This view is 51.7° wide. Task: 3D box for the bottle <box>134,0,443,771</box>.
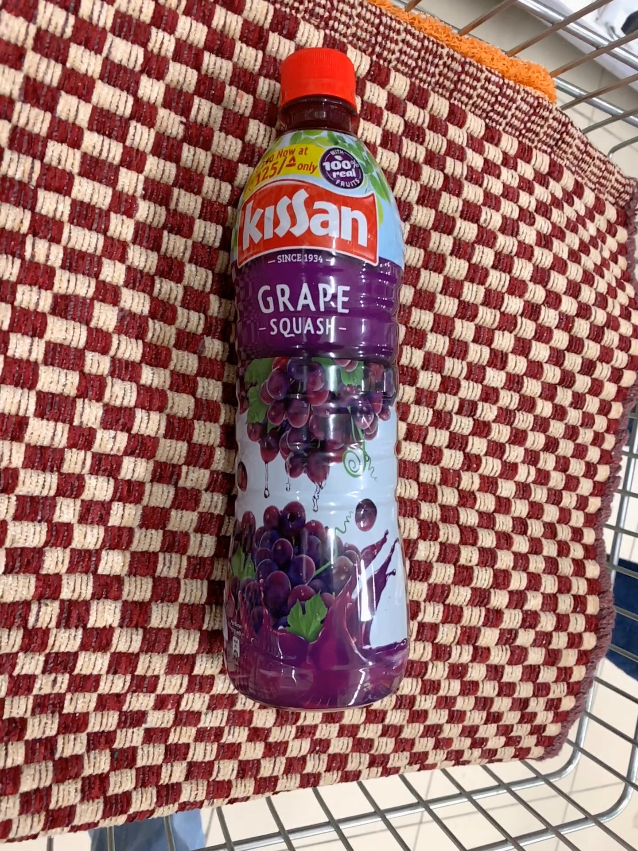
[{"bbox_3d":[-0.005,-0.023,0.234,0.080,0.080,0.240,-3,96,-75],"label":"bottle"}]
